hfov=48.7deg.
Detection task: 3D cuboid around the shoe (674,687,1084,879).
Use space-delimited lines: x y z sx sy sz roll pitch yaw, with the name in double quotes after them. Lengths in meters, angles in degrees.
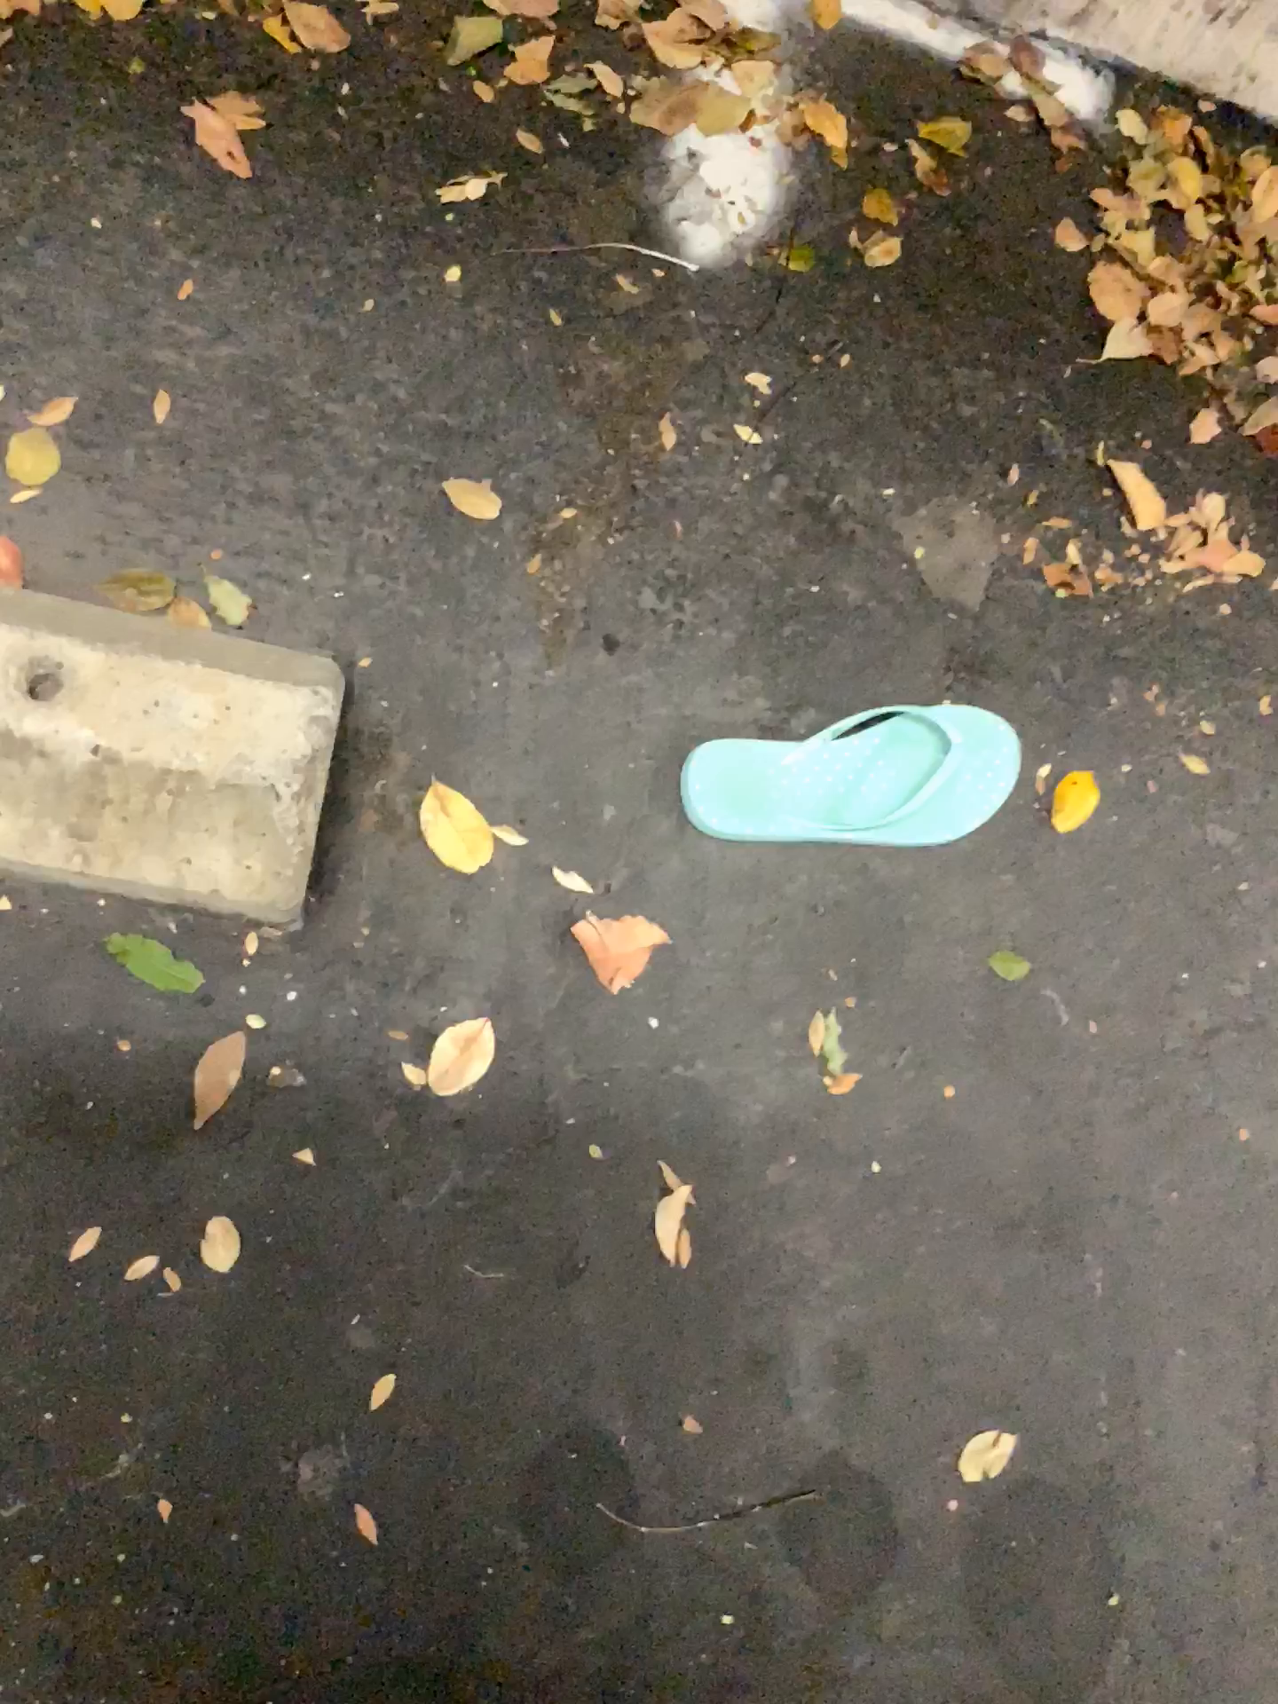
0.173 -0.052 1.014 0.280 0.050 0.120 -3 74 -18 "shoe"
